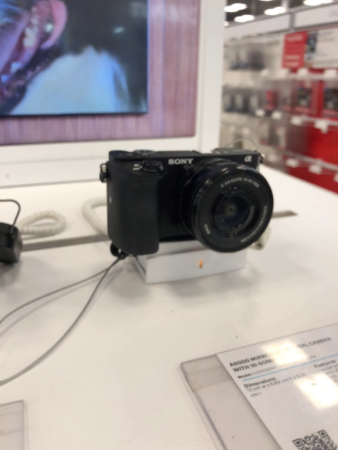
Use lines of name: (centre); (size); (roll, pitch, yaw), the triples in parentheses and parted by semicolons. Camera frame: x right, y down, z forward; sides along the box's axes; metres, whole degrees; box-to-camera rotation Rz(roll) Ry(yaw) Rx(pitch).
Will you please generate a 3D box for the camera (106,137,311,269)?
camera: (0.026, -0.022, 0.280); (0.130, 0.070, 0.060); (-7, 22, -19)
